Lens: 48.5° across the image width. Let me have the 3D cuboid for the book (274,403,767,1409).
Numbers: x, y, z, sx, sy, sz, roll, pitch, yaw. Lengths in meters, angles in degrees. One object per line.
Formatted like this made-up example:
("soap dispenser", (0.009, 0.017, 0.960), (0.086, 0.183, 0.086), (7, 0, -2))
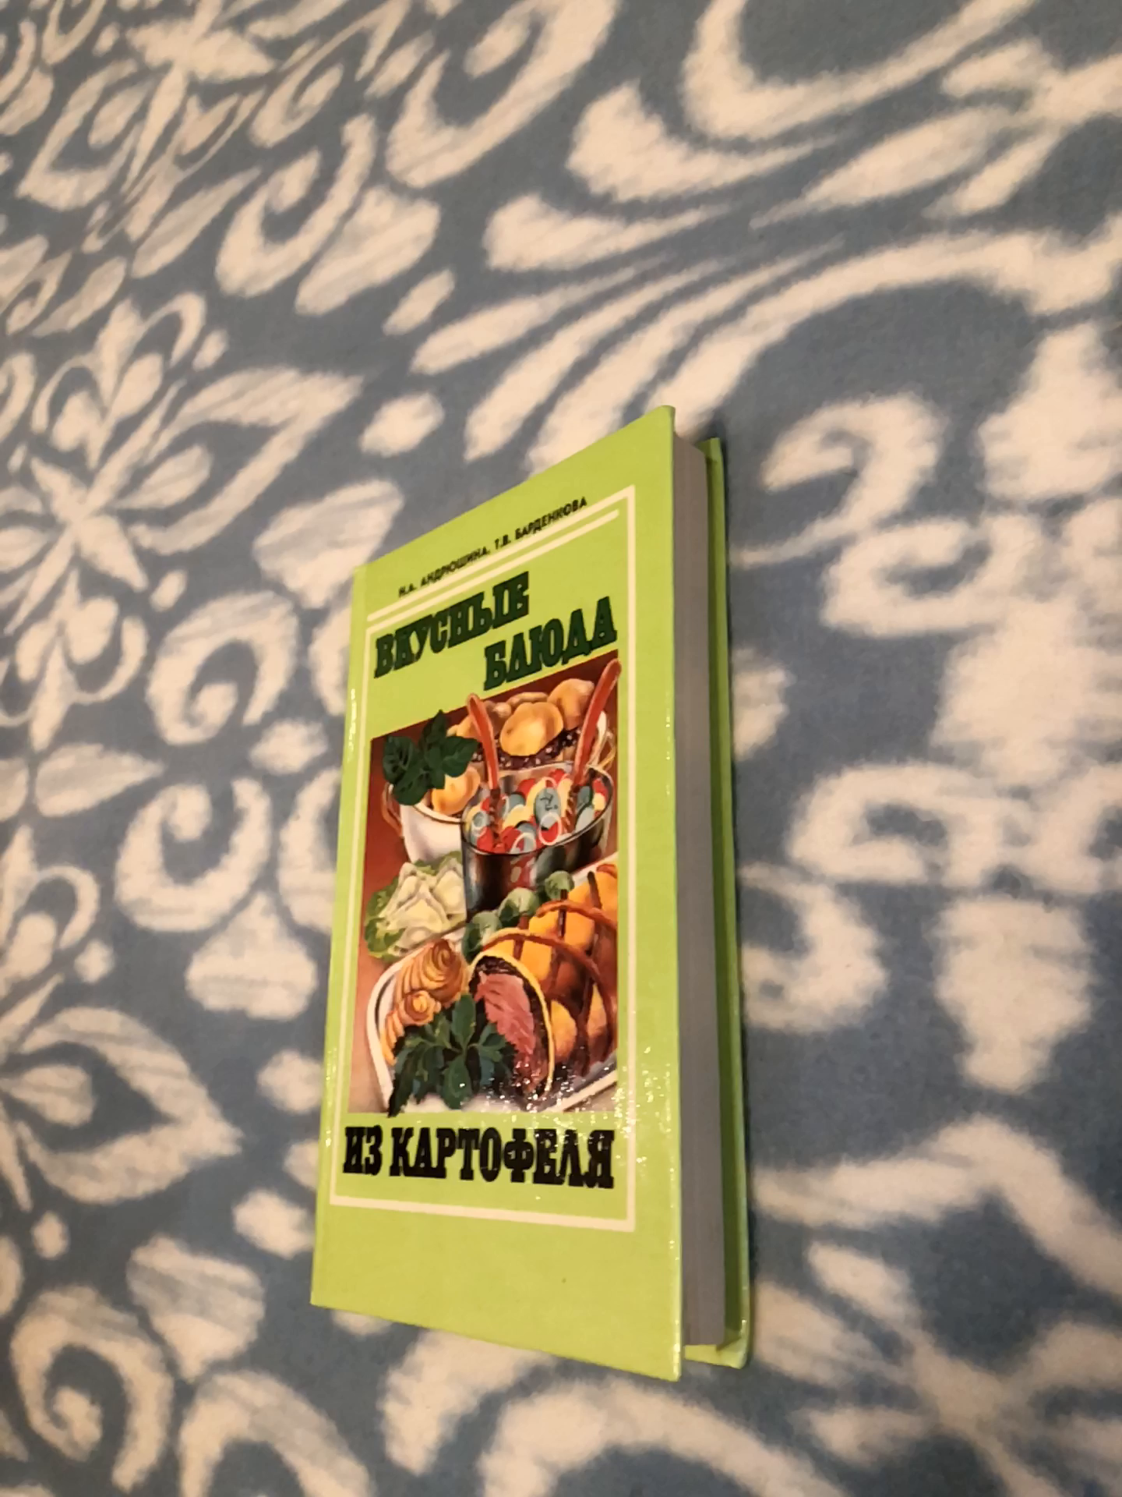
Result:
("book", (-0.015, 0.036, 0.304), (0.136, 0.025, 0.201), (-17, 66, 45))
